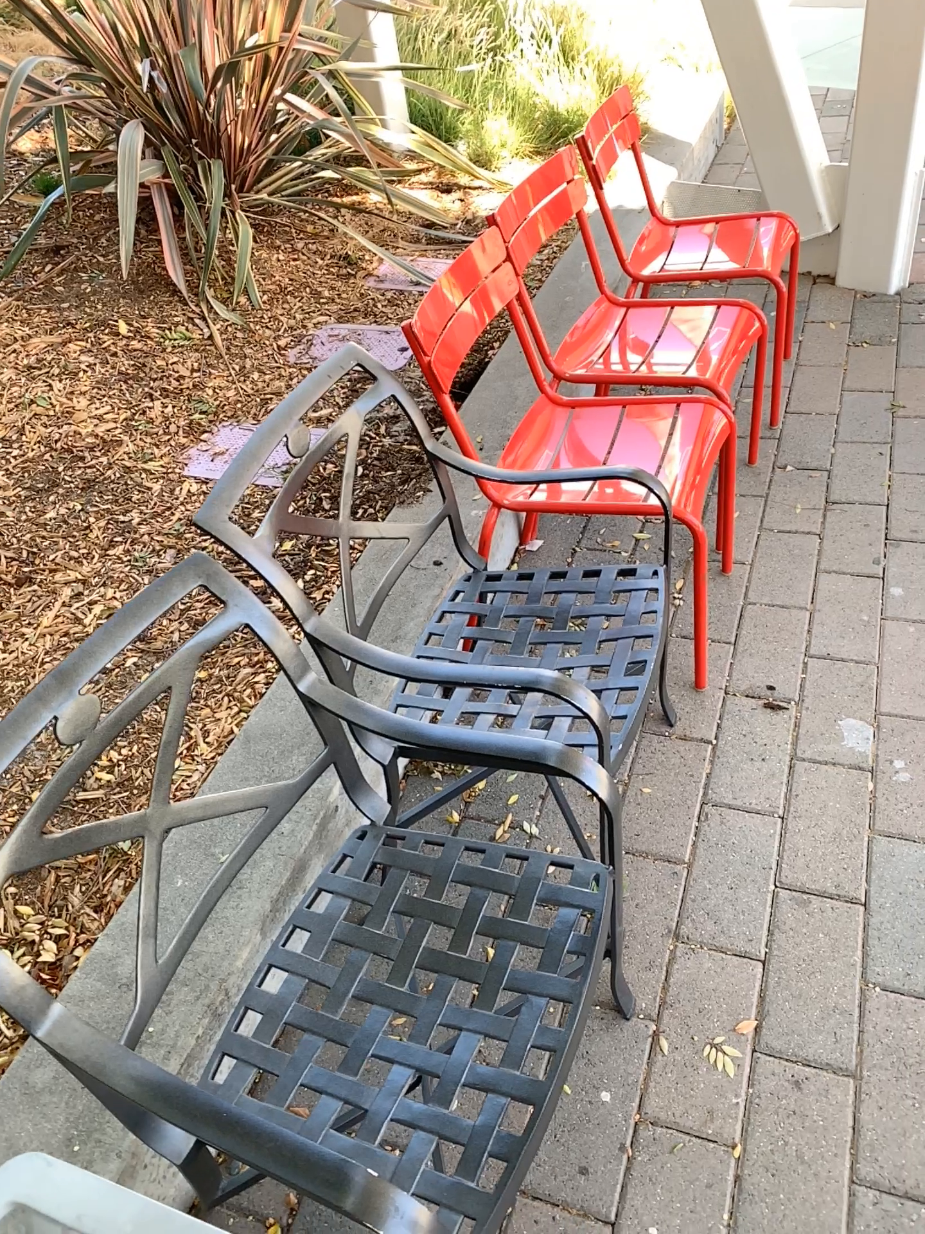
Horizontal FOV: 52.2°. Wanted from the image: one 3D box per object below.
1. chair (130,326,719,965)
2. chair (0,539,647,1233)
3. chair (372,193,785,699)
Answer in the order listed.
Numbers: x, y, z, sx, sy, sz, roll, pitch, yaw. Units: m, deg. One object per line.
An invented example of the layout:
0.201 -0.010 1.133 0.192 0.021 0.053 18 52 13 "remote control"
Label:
0.031 0.026 1.641 0.692 0.815 0.622 8 44 21 "chair"
-0.182 0.447 1.203 0.692 0.815 0.622 8 44 21 "chair"
0.299 -0.377 2.049 0.642 0.815 0.622 8 44 21 "chair"
